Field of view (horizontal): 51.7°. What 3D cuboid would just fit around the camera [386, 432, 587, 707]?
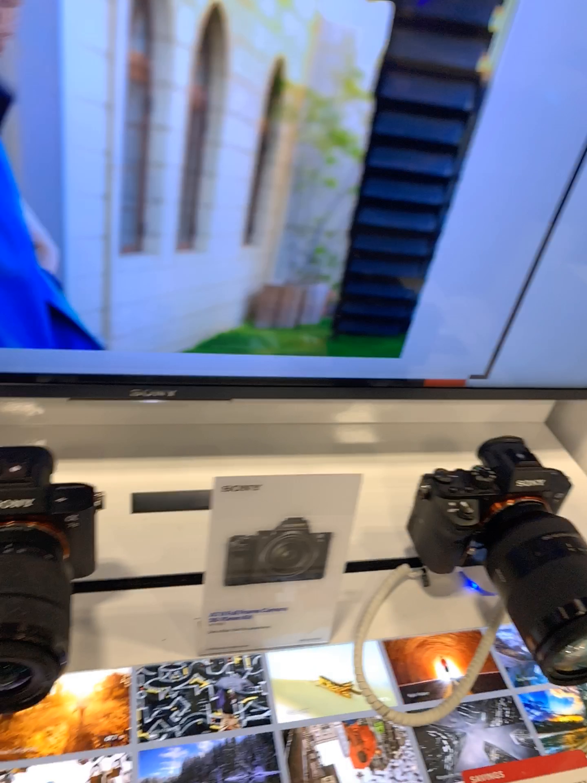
[{"bbox_3d":[0.183,0.132,0.497,0.140,0.099,0.181,-1,38,-16],"label":"camera"}]

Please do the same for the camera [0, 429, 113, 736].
[{"bbox_3d":[-0.180,0.106,0.377,0.128,0.084,0.151,-1,38,-16],"label":"camera"}]
